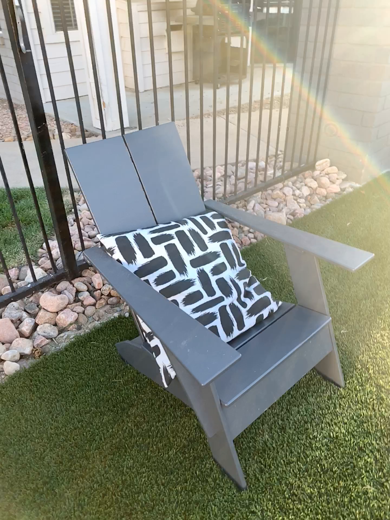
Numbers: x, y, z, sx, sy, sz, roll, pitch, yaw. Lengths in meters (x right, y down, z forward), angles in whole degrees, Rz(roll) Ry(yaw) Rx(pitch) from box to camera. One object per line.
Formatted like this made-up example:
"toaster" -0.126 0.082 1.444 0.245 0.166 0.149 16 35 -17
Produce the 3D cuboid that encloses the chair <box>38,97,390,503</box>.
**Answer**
"chair" 0.064 0.014 1.283 0.621 0.806 0.883 -26 41 -33
